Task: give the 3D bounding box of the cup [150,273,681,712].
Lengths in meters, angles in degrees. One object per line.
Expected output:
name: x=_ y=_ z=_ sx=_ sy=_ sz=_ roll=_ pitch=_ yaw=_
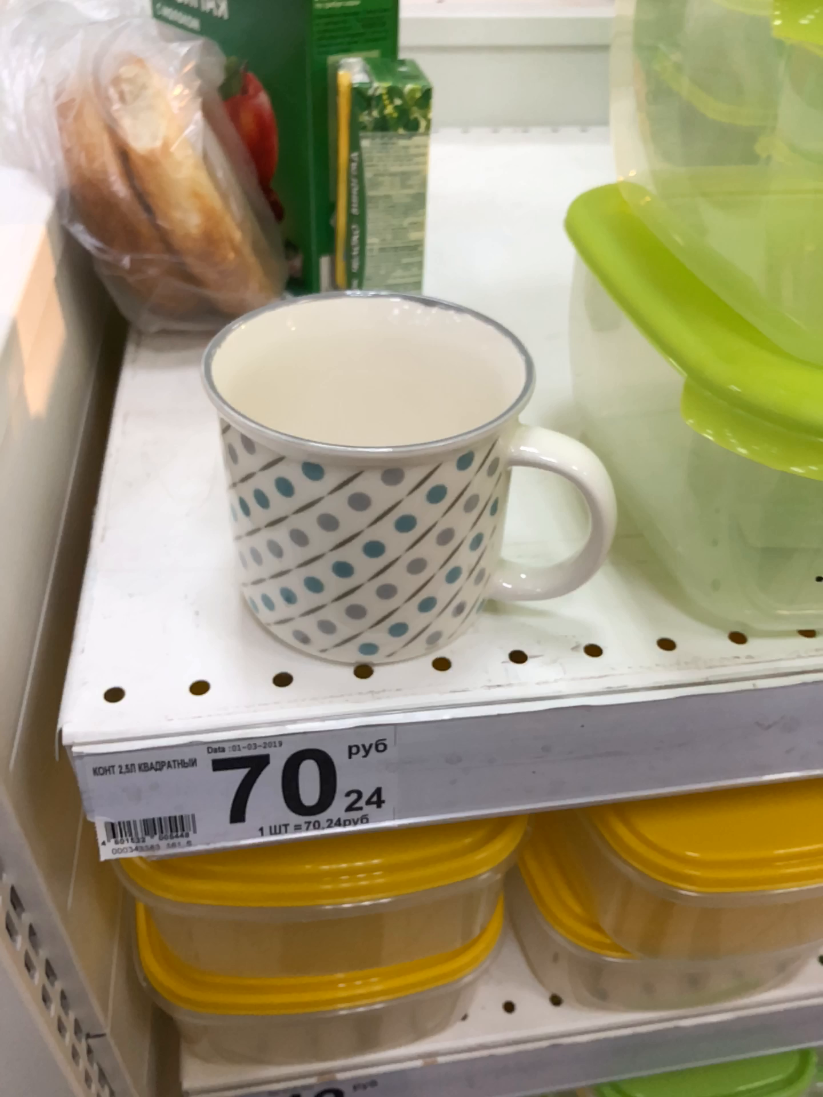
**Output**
cup: x=0.004 y=-0.021 z=0.282 sx=0.127 sy=0.082 sz=0.096 roll=6 pitch=40 yaw=4
